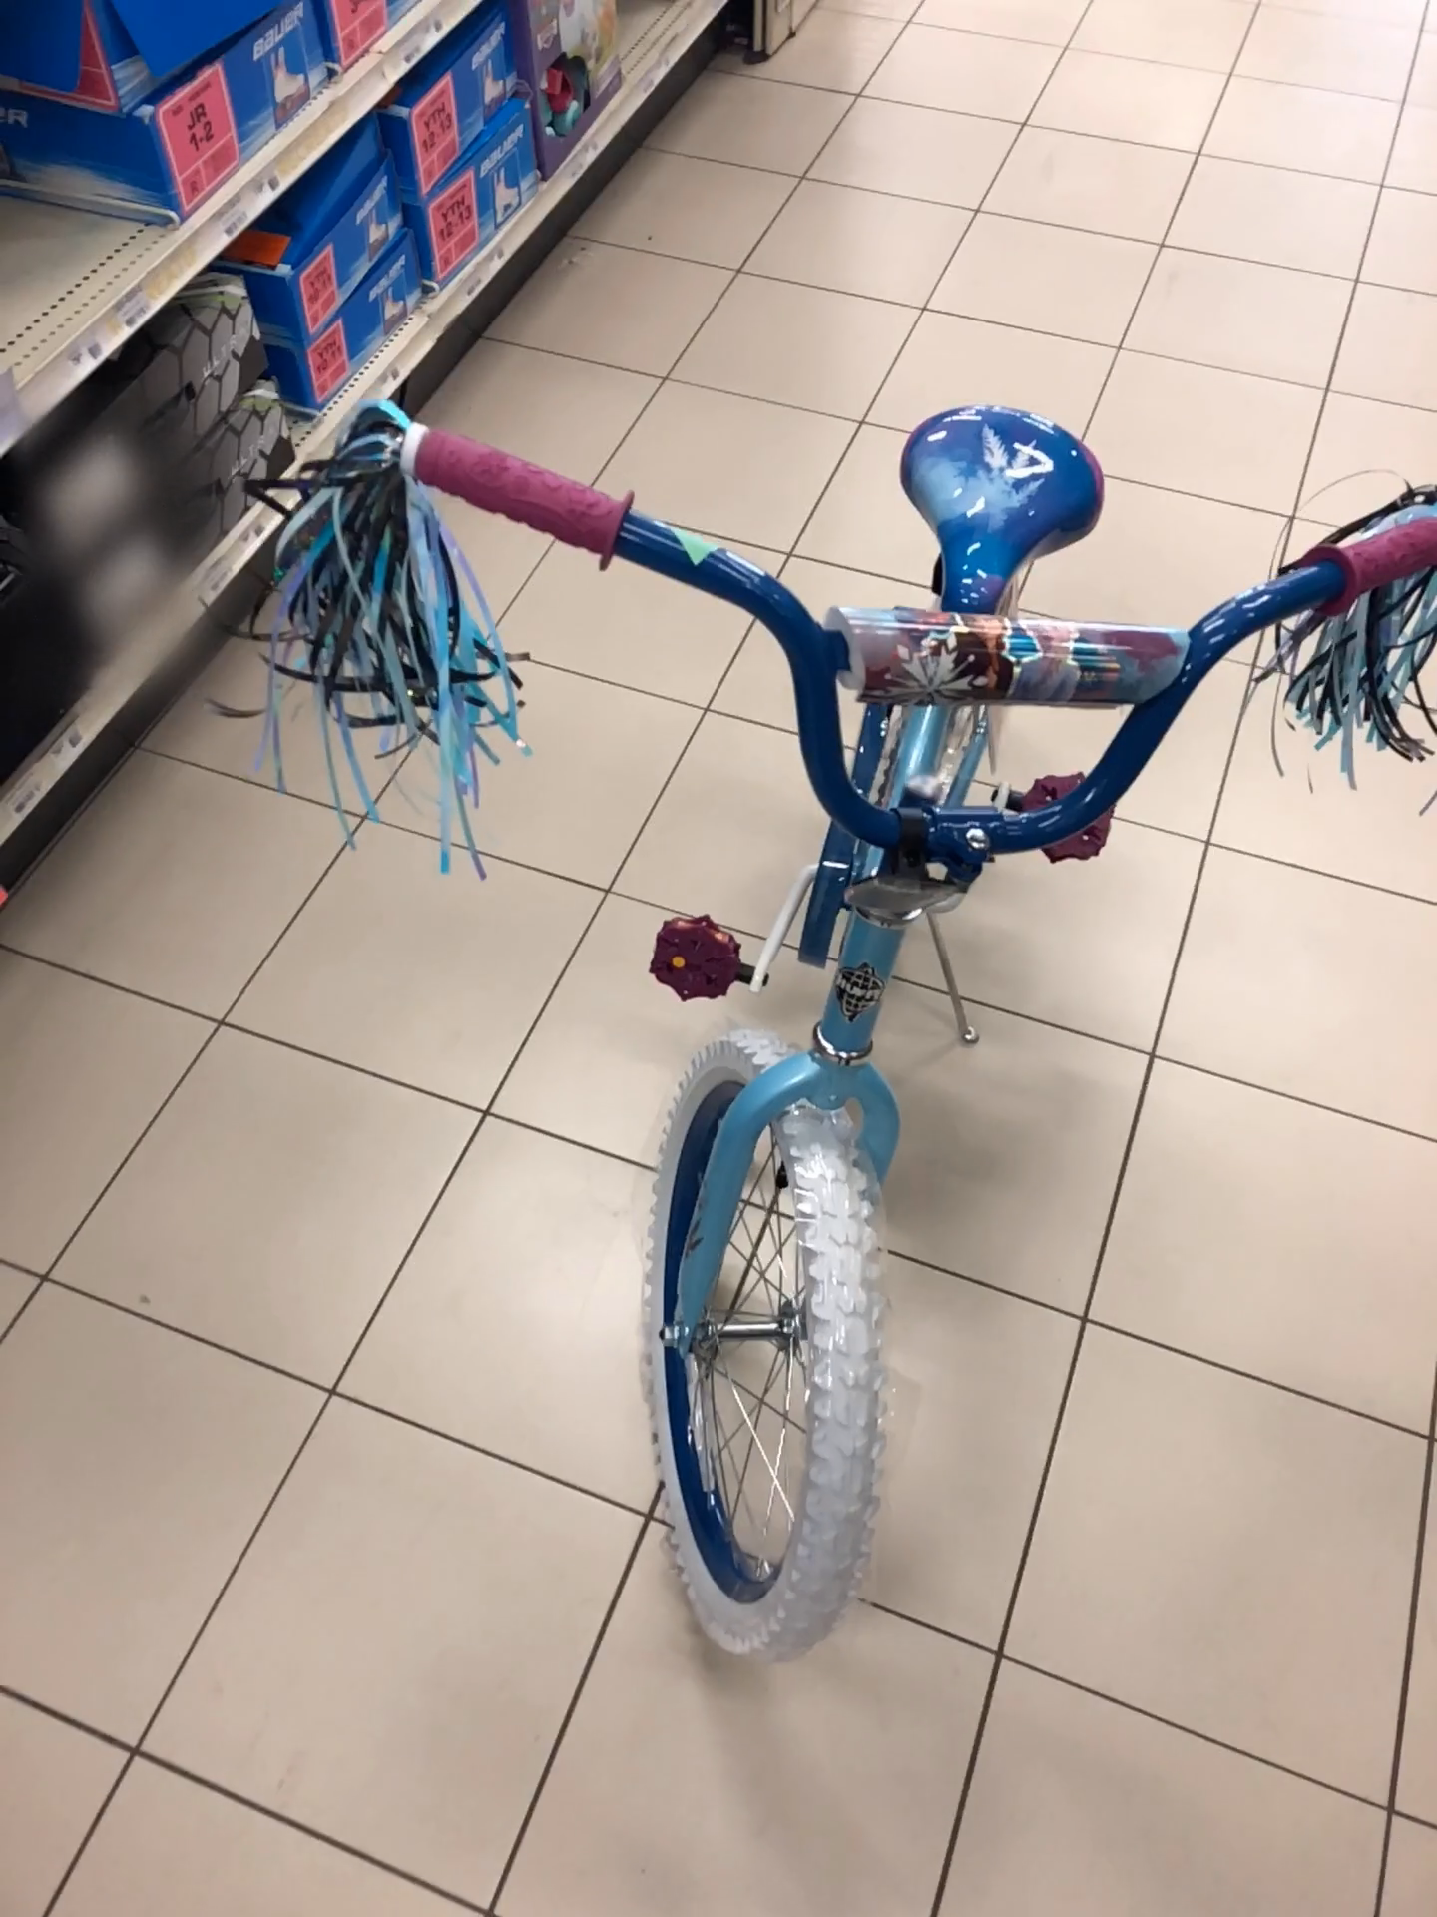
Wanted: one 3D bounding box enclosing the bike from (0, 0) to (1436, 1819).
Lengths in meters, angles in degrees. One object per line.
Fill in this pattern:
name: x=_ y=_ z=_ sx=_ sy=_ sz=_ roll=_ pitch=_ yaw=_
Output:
bike: x=0.185 y=-0.138 z=1.185 sx=0.640 sy=0.954 sz=1.180 roll=9 pitch=51 yaw=7
